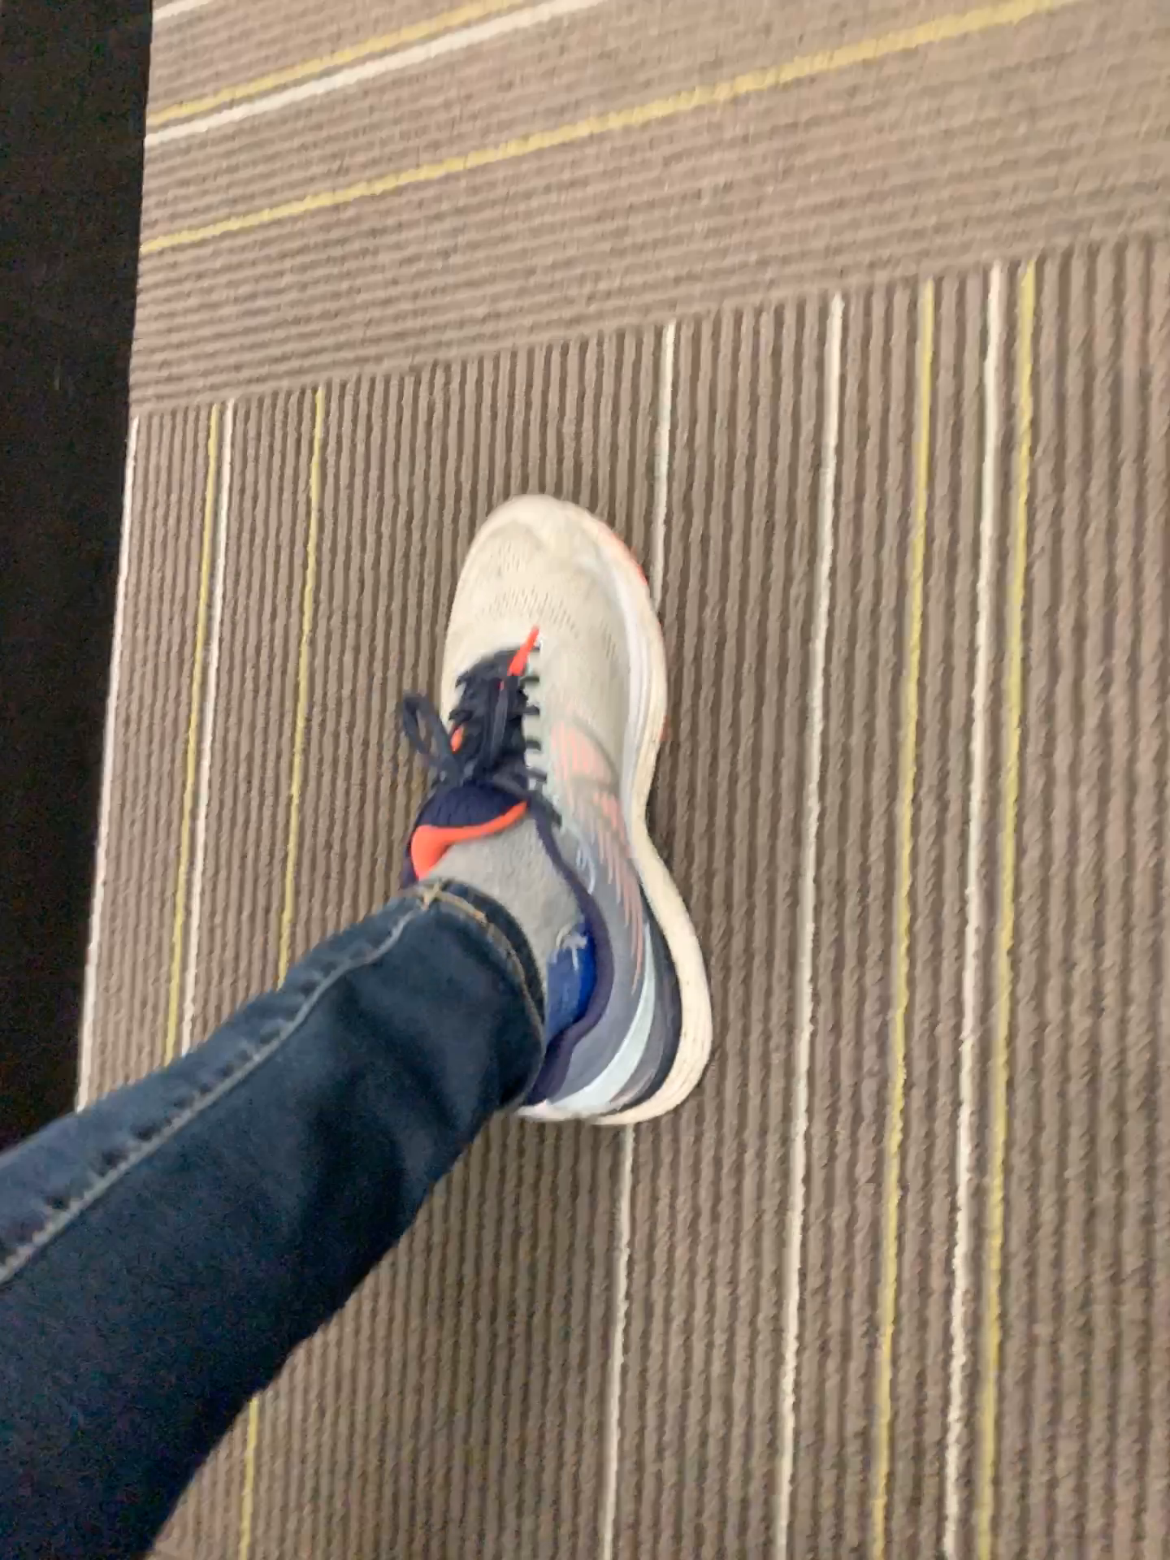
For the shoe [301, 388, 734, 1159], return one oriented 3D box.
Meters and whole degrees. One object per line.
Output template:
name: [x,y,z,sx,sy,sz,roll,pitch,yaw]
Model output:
shoe: [-0.028,0.003,0.483,0.111,0.089,0.270,-12,80,27]
